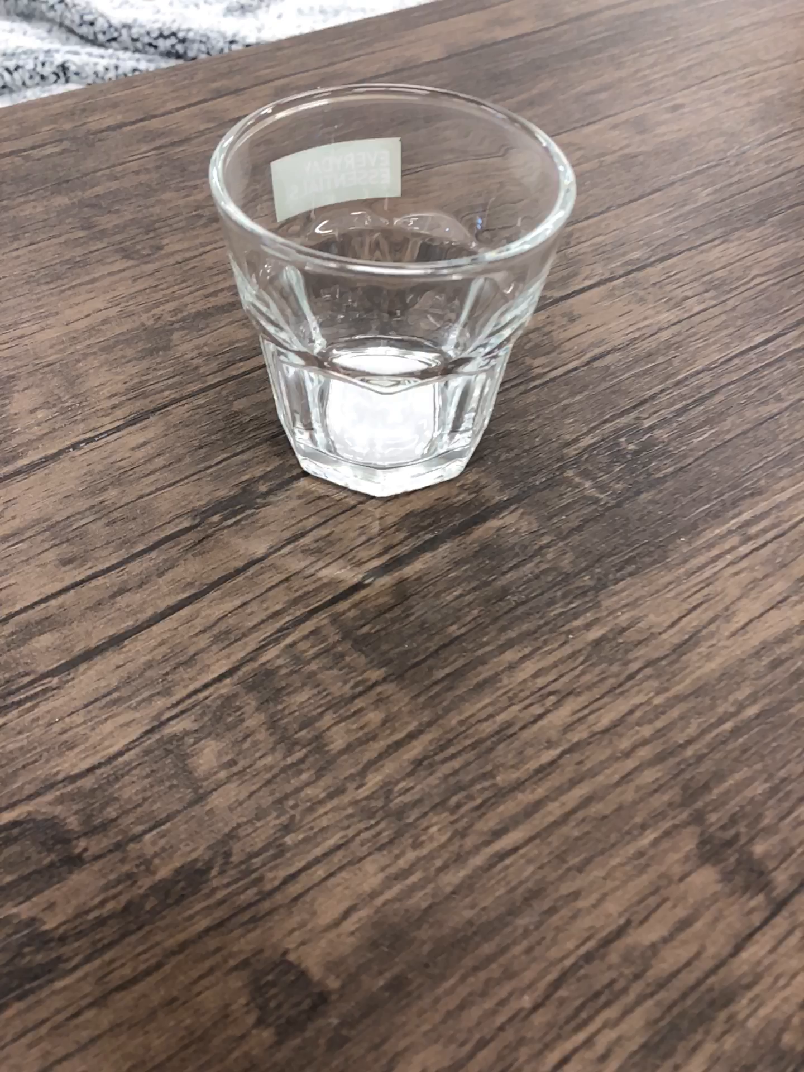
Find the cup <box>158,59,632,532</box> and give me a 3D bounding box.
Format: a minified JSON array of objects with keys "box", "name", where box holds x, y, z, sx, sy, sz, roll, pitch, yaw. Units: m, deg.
[{"box":[-0.007,-0.061,0.225,0.090,0.070,0.090,1,51,-1],"name":"cup"}]
